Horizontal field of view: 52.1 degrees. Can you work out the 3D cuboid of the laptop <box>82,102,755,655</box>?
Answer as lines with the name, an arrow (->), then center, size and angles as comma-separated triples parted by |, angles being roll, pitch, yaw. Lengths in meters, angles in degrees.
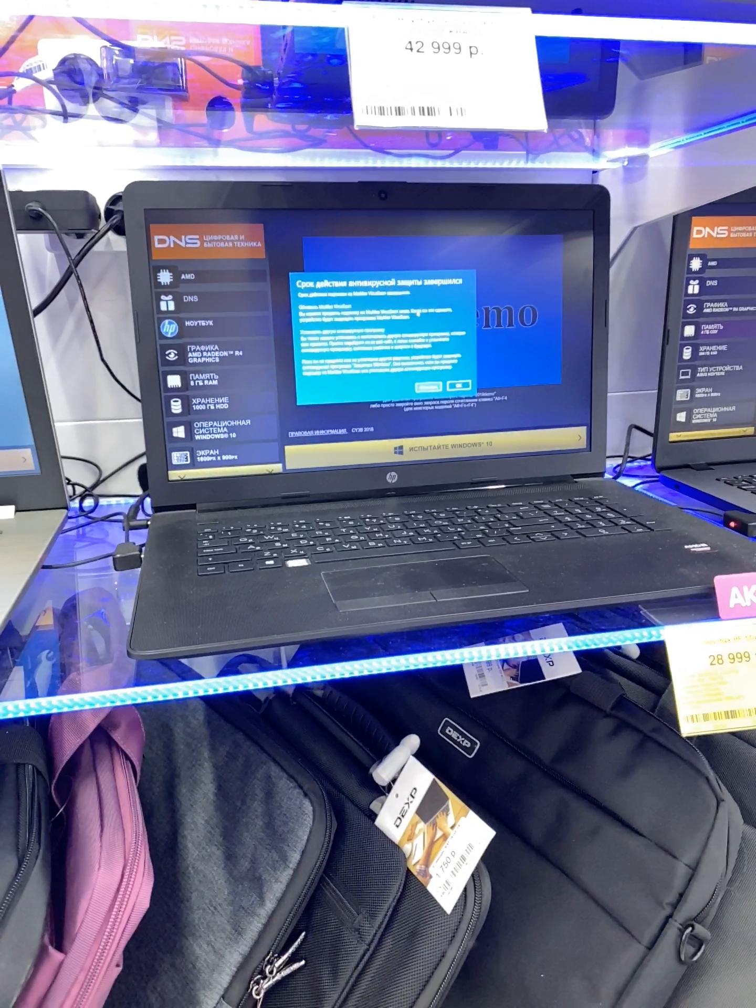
laptop -> 0.042, -0.101, 0.553 | 0.419, 0.260, 0.295 | -4, 15, -13
